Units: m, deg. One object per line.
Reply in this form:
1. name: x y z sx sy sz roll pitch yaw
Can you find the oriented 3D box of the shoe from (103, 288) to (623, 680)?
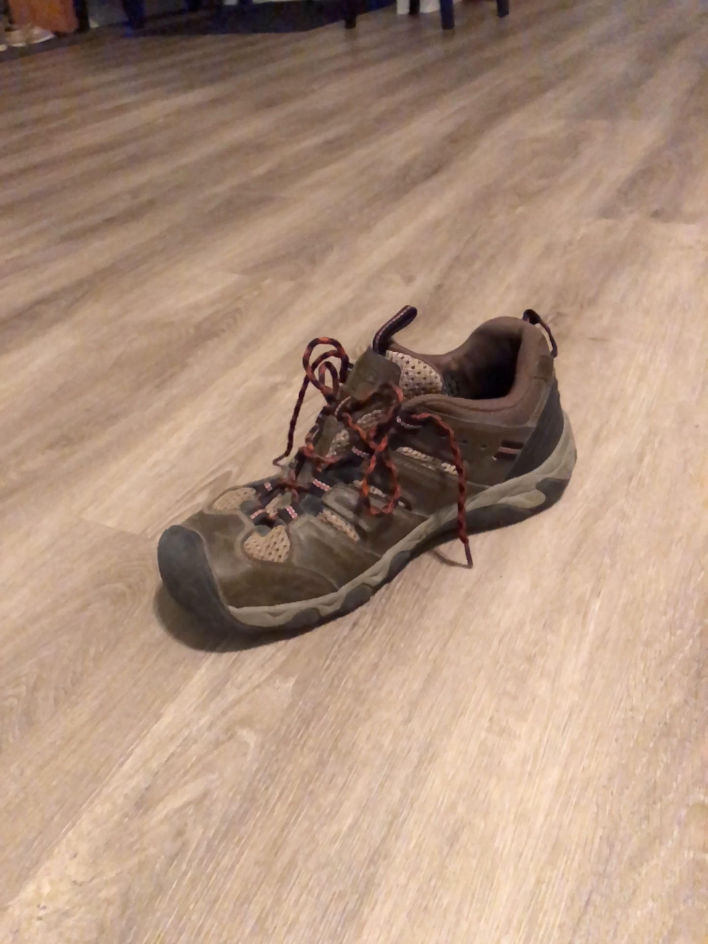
1. shoe: 0.013 -0.009 0.461 0.270 0.099 0.110 -23 38 -24
